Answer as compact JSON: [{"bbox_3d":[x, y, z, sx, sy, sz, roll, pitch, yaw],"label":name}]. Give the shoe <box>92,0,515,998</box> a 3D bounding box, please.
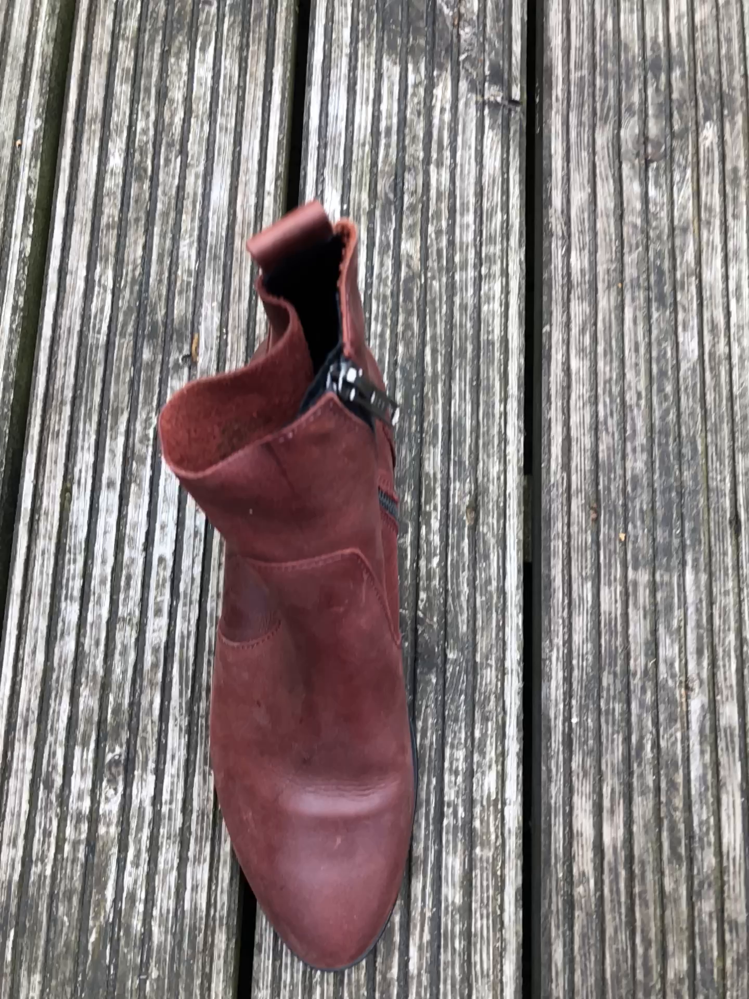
[{"bbox_3d":[-0.012,0.039,0.337,0.090,0.240,0.340,3,80,0],"label":"shoe"}]
